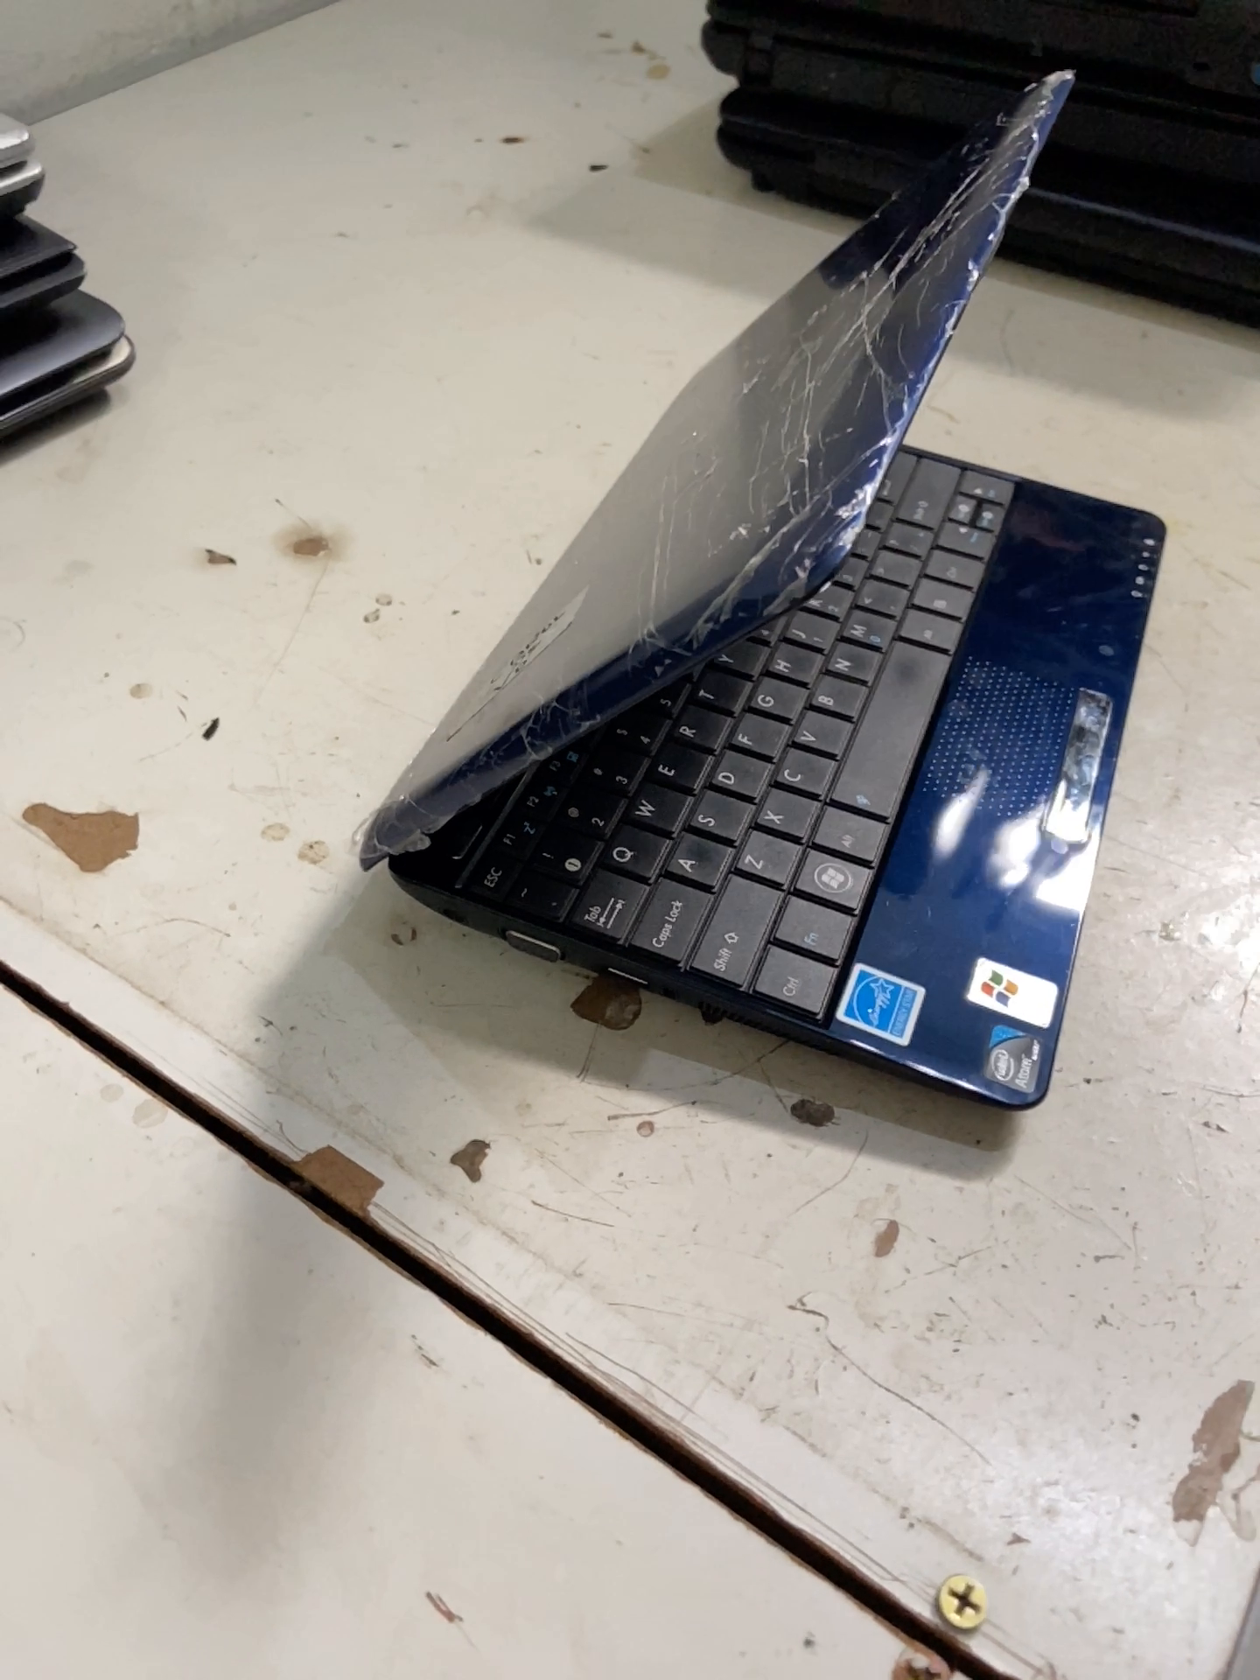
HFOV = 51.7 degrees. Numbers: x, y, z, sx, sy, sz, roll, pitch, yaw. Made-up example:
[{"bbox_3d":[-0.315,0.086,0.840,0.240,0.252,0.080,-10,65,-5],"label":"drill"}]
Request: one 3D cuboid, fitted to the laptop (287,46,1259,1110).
[{"bbox_3d":[0.061,-0.094,0.358,0.169,0.121,0.260,18,49,12],"label":"laptop"}]
